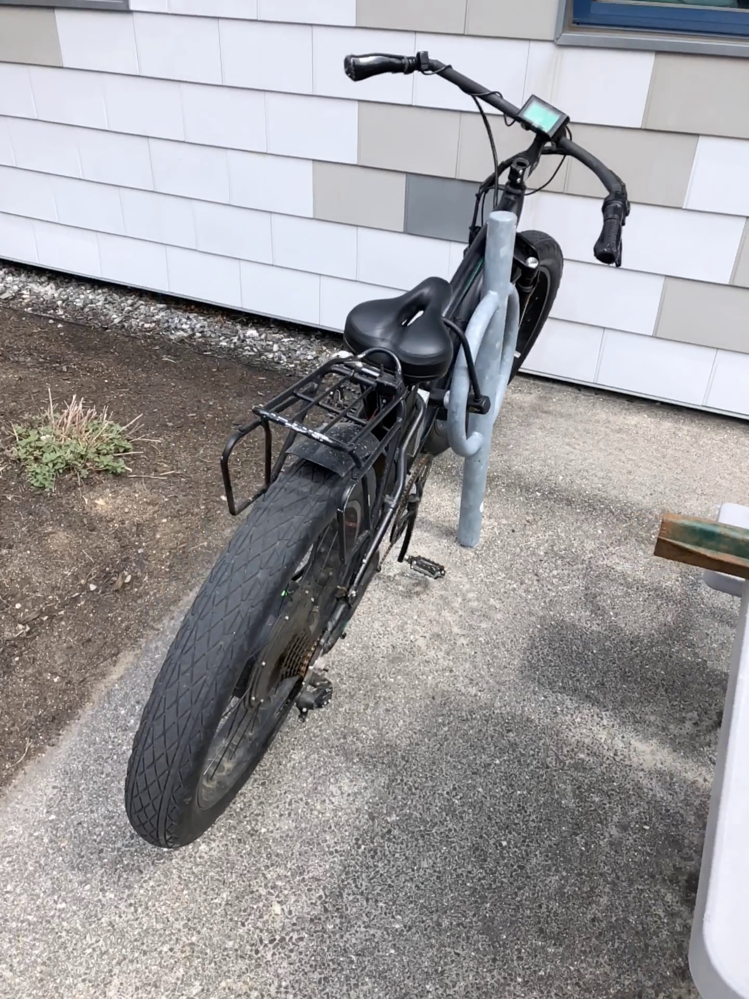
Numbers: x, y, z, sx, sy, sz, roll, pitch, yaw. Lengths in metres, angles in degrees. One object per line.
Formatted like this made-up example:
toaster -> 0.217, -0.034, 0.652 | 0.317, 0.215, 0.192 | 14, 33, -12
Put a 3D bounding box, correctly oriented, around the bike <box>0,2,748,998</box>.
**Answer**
bike -> 0.212, -0.306, 1.872 | 0.877, 1.170, 2.124 | 16, 40, 20
